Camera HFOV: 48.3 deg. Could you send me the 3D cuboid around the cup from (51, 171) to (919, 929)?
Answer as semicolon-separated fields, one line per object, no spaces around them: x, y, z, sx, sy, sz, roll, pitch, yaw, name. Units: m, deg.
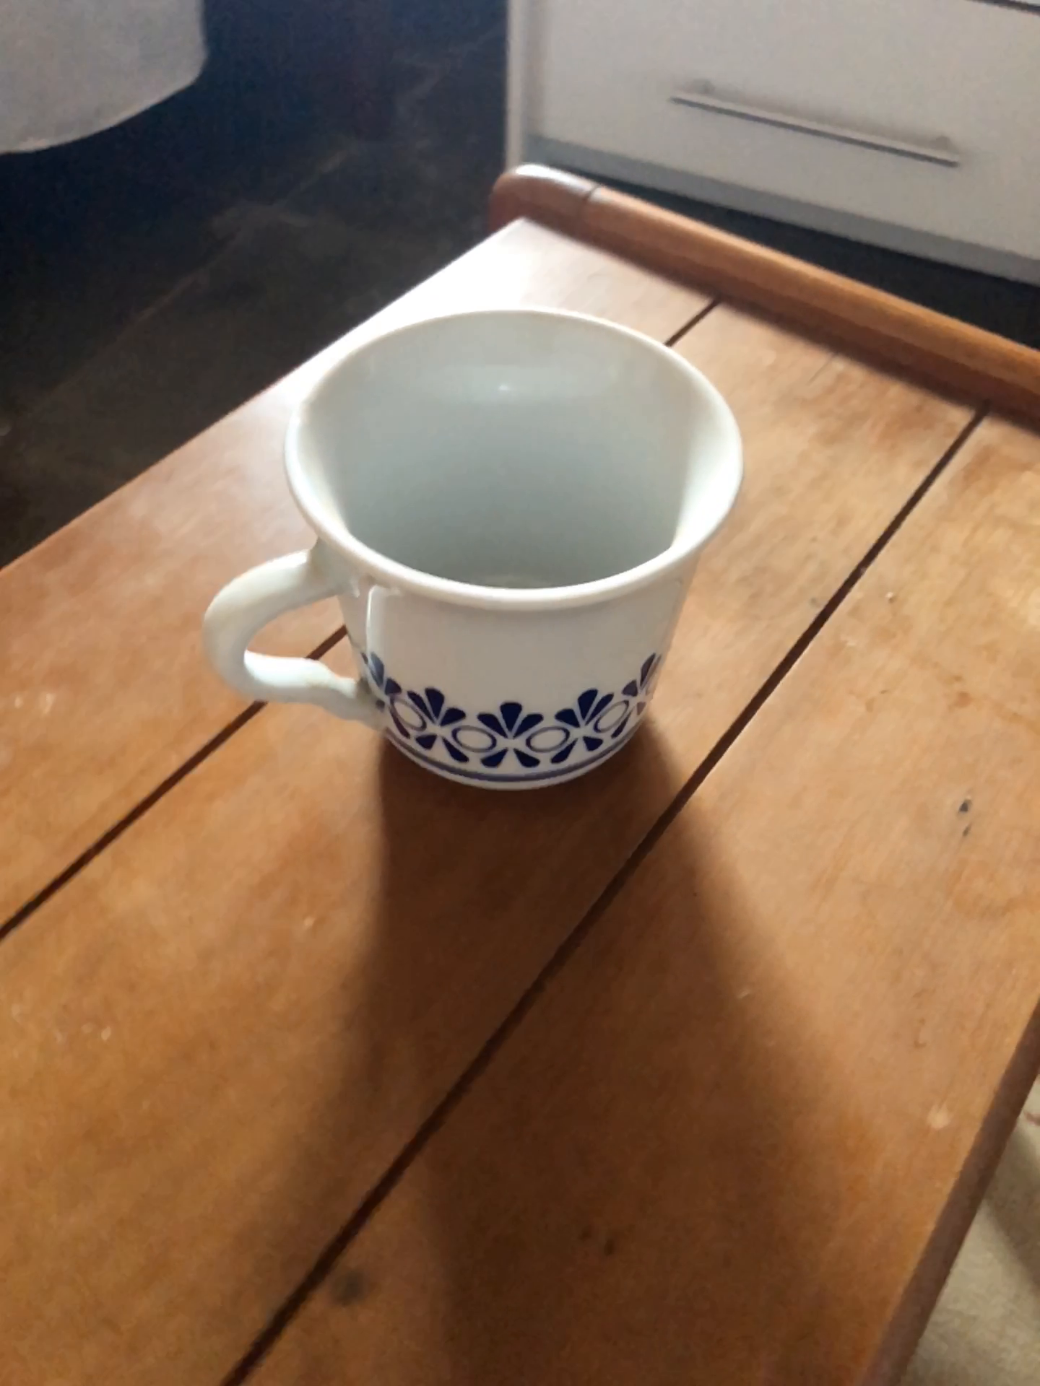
-0.010;-0.037;0.247;0.130;0.079;0.100;-23;55;-21;cup
